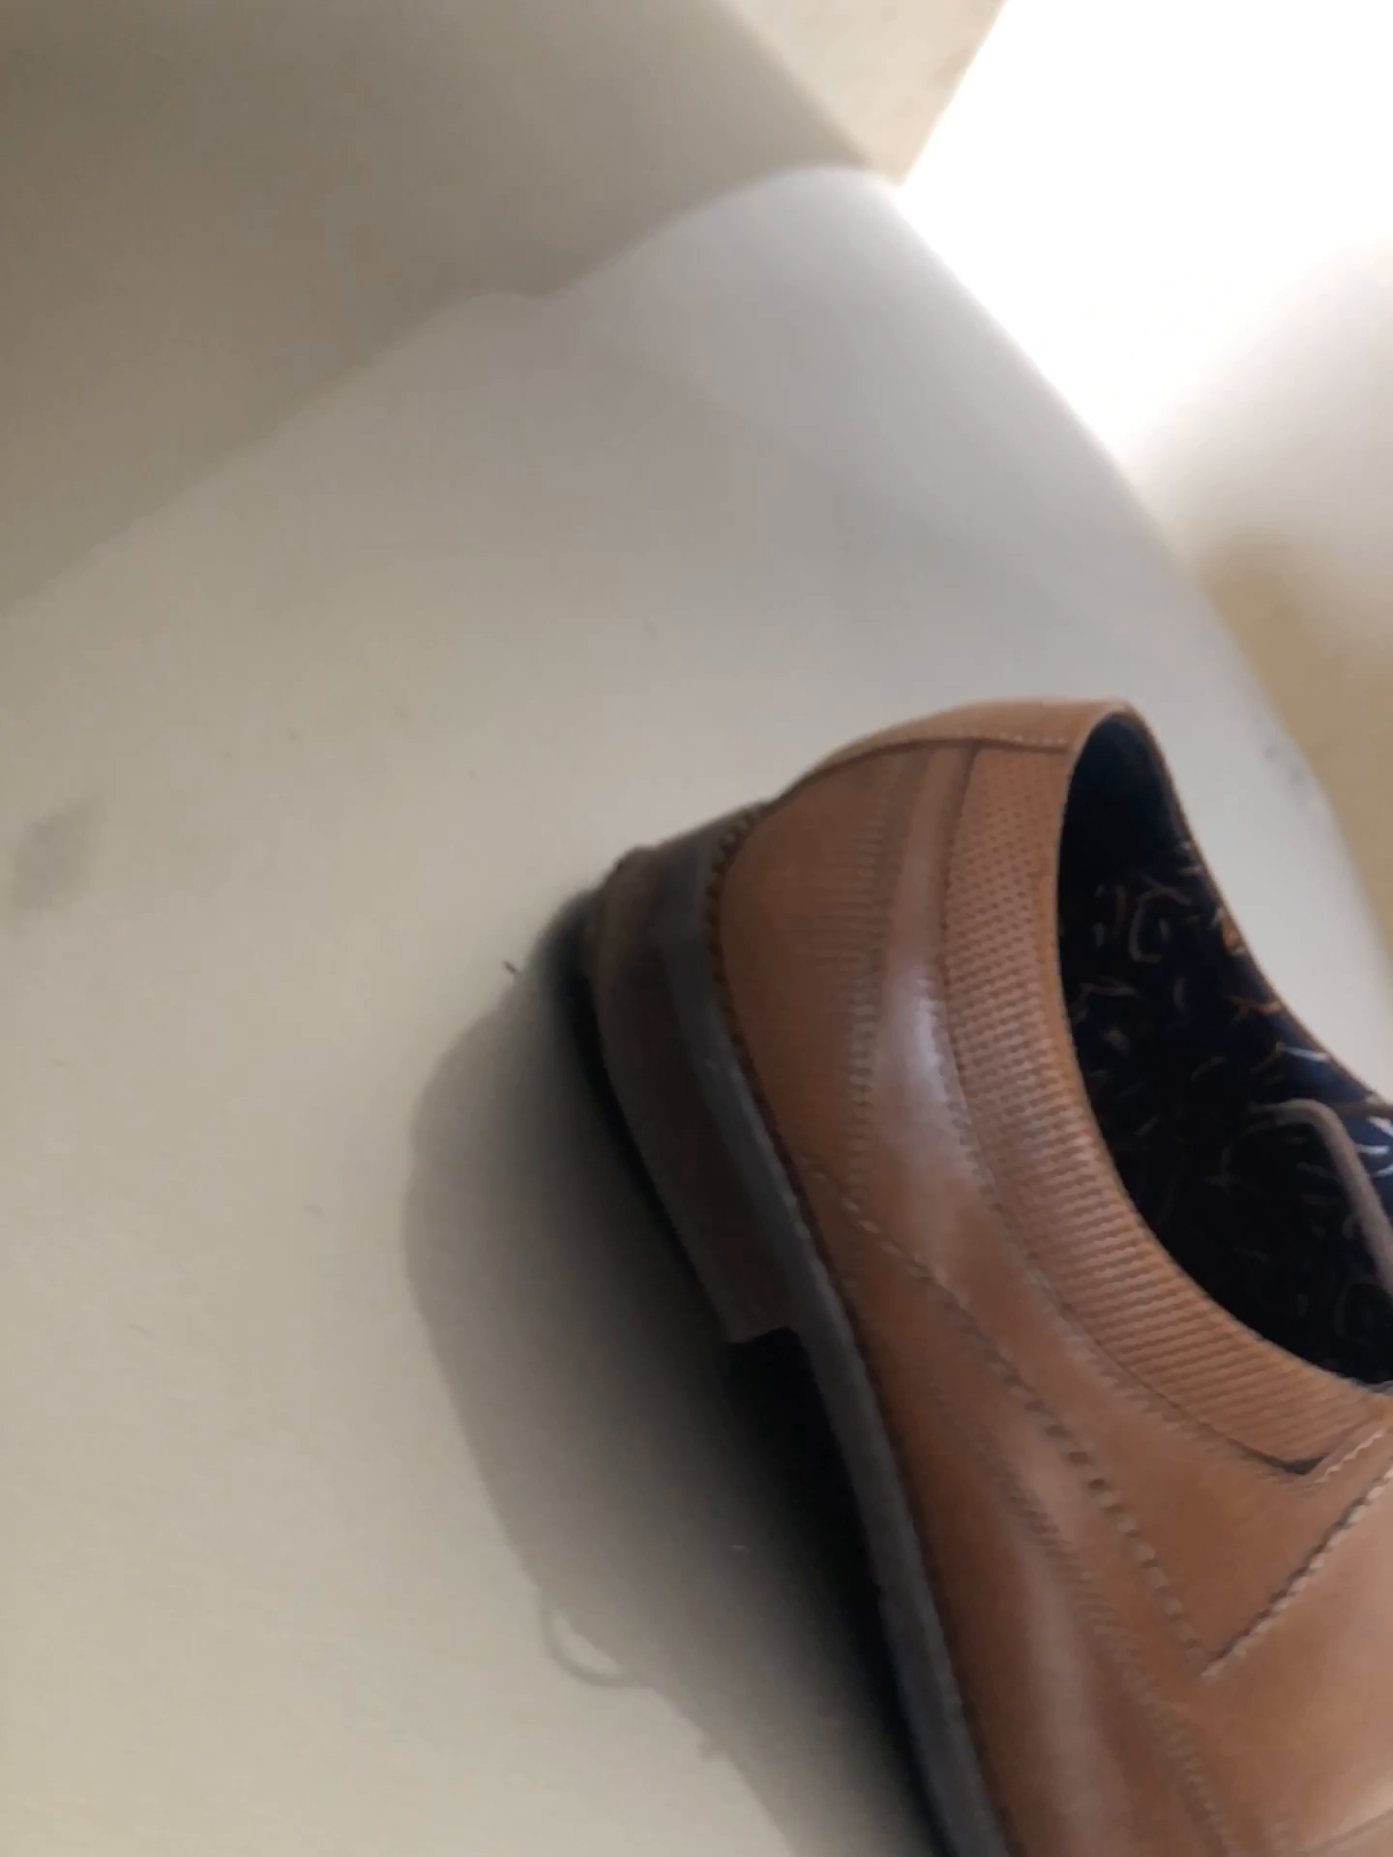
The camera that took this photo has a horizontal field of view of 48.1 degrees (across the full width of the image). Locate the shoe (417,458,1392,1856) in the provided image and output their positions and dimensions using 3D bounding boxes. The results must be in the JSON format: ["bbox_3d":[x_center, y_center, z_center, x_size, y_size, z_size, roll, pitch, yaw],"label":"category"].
[{"bbox_3d":[0.099,0.092,0.256,0.131,0.089,0.340,-18,76,-42],"label":"shoe"}]
